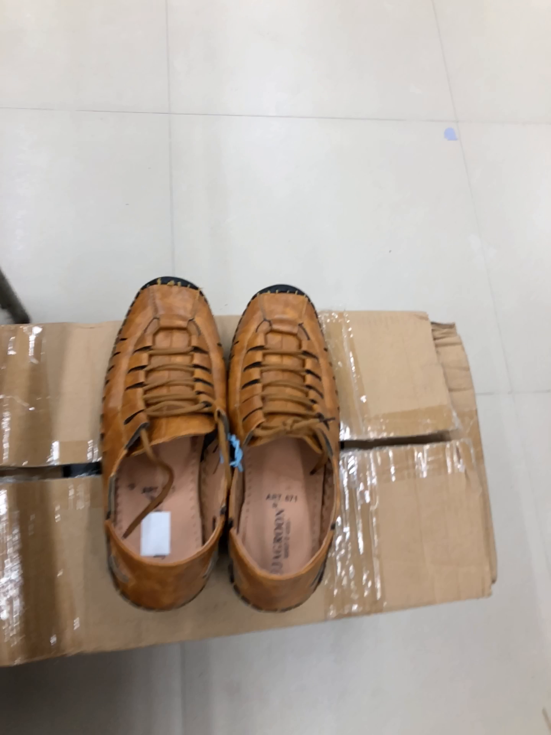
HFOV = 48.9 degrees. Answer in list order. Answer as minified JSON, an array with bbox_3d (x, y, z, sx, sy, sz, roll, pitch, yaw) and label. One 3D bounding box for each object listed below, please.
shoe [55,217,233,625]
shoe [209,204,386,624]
[{"bbox_3d":[-0.093,0.041,0.485,0.110,0.120,0.291,1,71,-7],"label":"shoe"},{"bbox_3d":[0.011,0.037,0.484,0.110,0.120,0.301,3,71,-6],"label":"shoe"}]
